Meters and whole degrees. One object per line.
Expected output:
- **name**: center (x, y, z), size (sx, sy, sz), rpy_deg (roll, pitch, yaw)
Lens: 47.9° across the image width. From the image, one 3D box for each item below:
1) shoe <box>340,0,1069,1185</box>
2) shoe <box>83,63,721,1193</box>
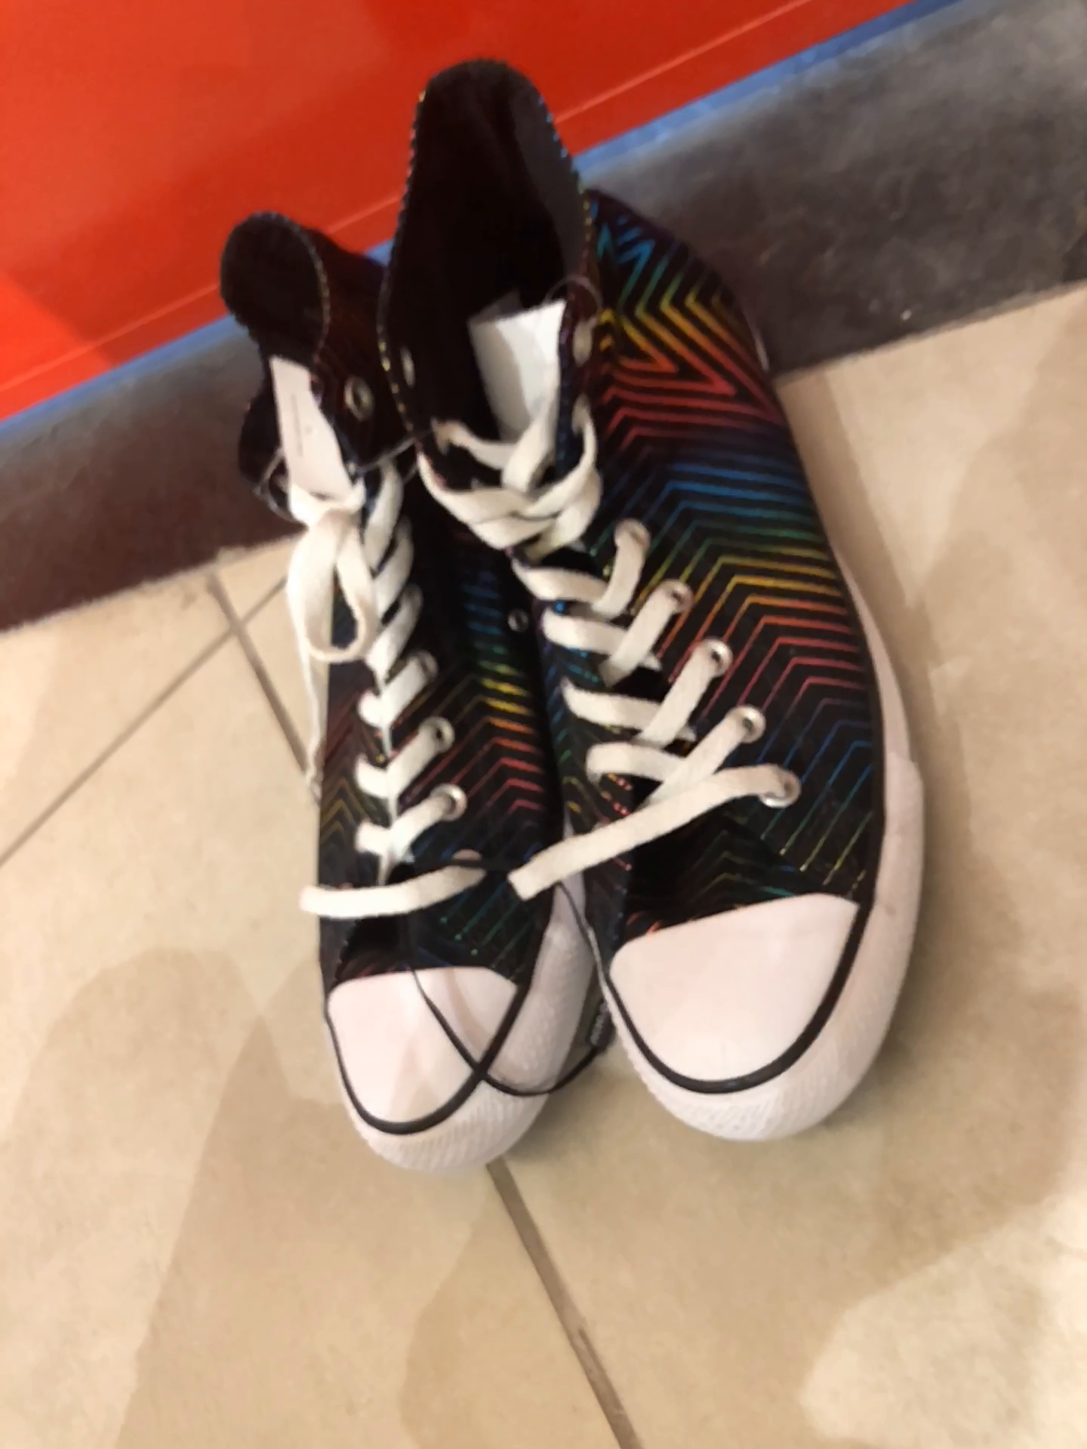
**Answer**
- **shoe**: center (0.036, -0.043, 0.342), size (0.110, 0.139, 0.311), rpy_deg (-18, 64, 27)
- **shoe**: center (-0.039, -0.021, 0.390), size (0.110, 0.139, 0.311), rpy_deg (-15, 65, 28)
